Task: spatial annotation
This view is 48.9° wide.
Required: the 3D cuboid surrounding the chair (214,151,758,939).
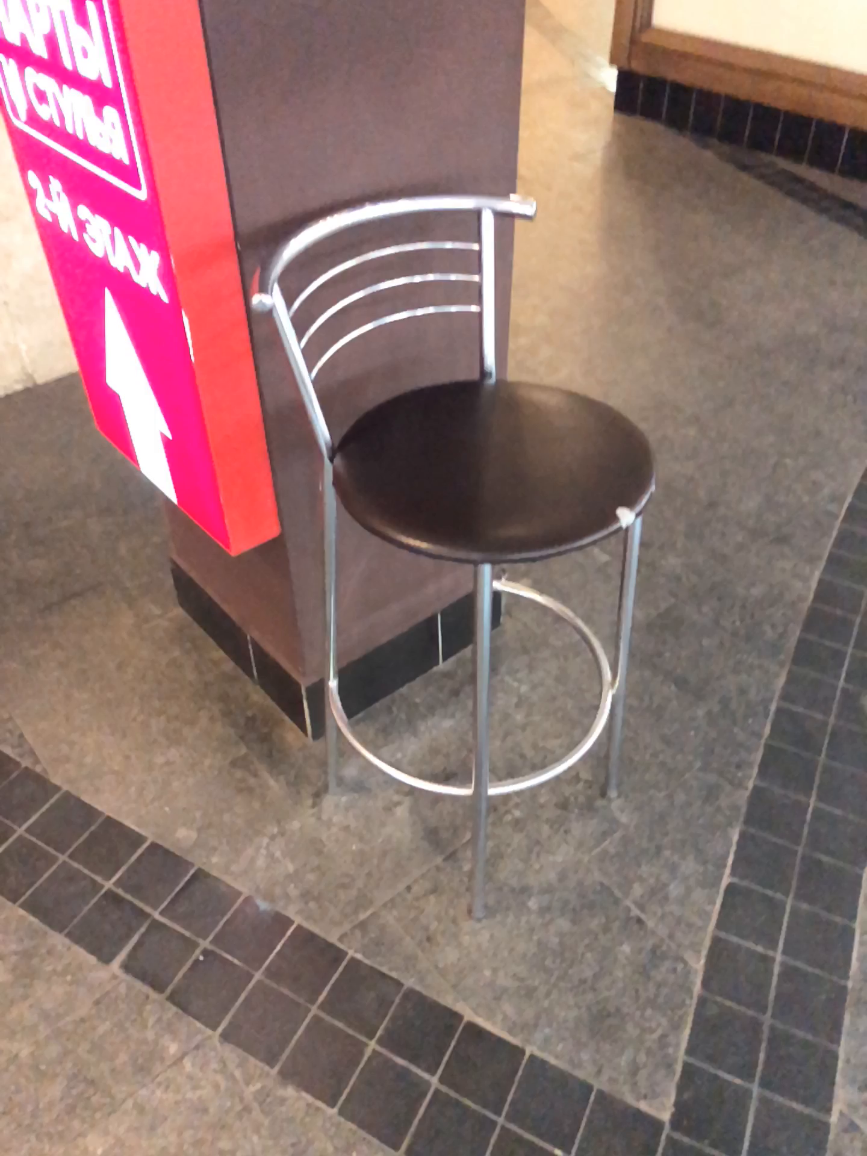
[{"bbox_3d":[0.058,-0.010,1.324,0.411,0.936,0.411,-33,50,-32],"label":"chair"}]
